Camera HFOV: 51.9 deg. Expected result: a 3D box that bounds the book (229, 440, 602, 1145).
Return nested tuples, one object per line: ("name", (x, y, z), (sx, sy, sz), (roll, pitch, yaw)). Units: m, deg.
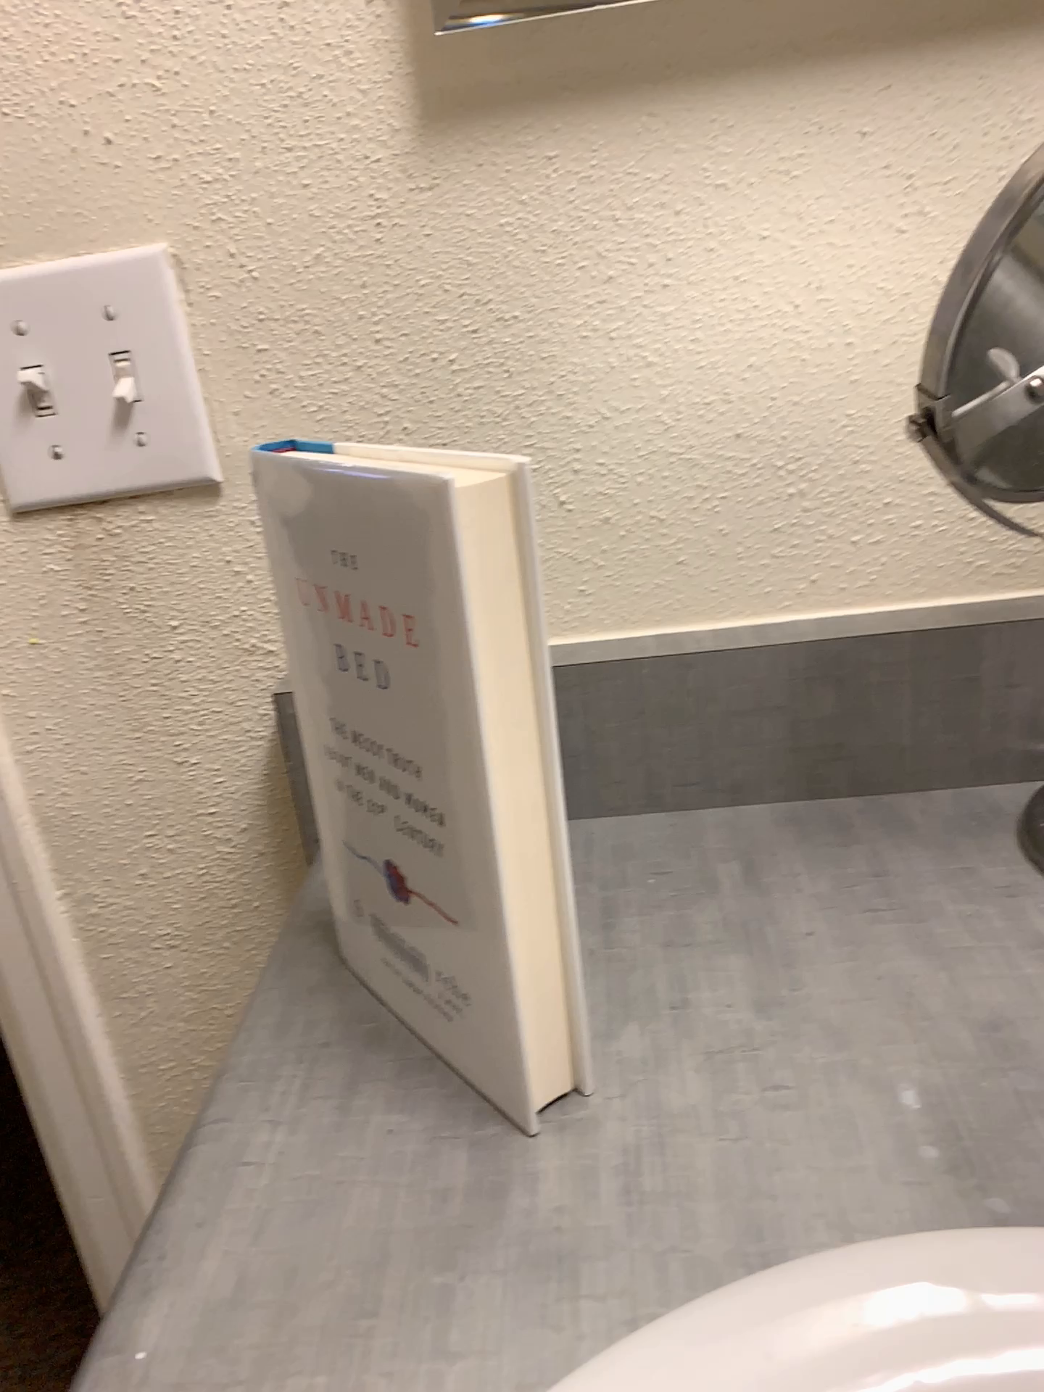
("book", (-0.041, 0.023, 0.381), (0.033, 0.214, 0.152), (-18, 22, -31))
